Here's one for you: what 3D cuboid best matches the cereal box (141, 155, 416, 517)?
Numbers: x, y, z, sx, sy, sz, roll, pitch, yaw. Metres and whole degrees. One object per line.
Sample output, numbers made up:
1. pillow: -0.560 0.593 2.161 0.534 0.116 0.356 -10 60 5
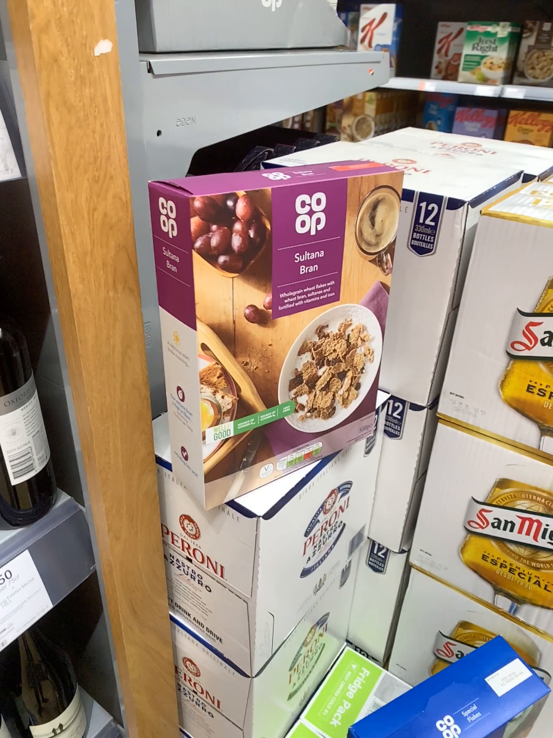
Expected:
1. cereal box: 0.005 -0.032 0.482 0.201 0.258 0.070 -18 35 -31
